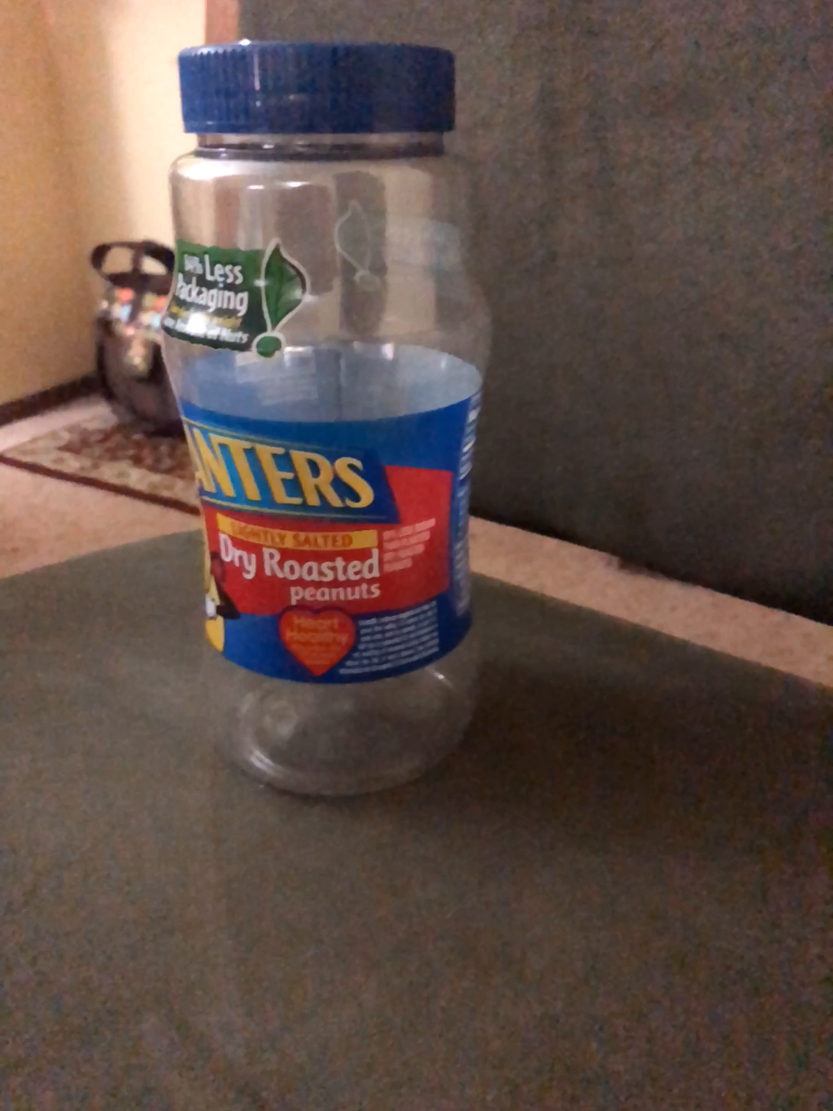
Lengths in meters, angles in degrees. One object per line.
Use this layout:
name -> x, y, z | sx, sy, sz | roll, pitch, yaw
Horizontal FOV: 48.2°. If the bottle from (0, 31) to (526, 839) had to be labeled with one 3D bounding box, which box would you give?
bottle -> -0.035, -0.034, 0.241 | 0.090, 0.170, 0.080 | 21, 33, 38
